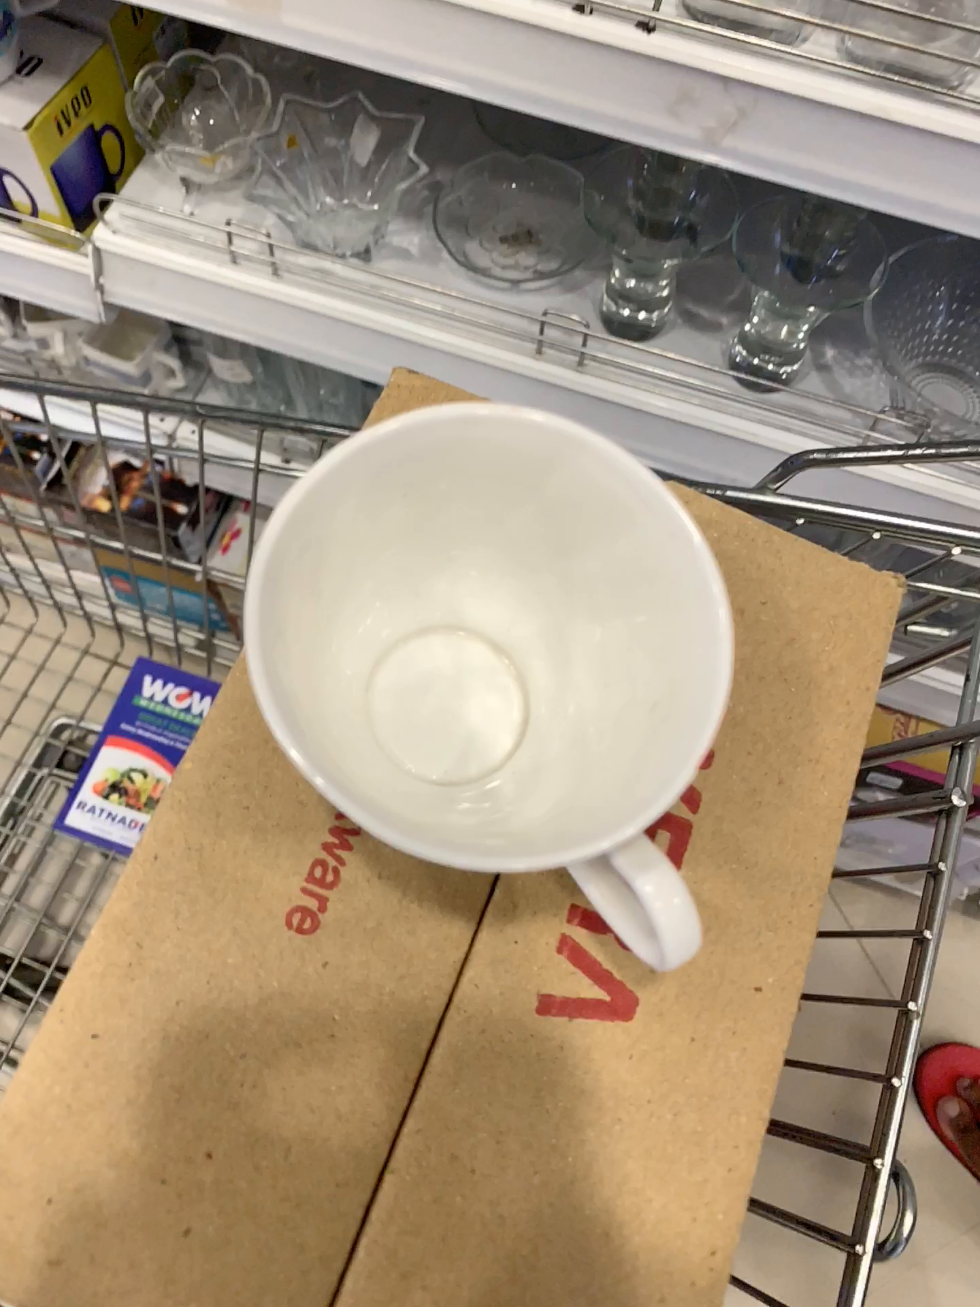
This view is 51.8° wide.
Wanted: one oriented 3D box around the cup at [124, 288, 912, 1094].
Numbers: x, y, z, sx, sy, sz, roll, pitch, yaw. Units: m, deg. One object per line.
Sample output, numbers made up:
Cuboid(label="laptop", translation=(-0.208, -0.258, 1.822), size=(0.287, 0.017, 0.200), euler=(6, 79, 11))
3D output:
Cuboid(label="cup", translation=(0.001, 0.007, 0.180), size=(0.080, 0.060, 0.100), euler=(-27, 76, -13))
